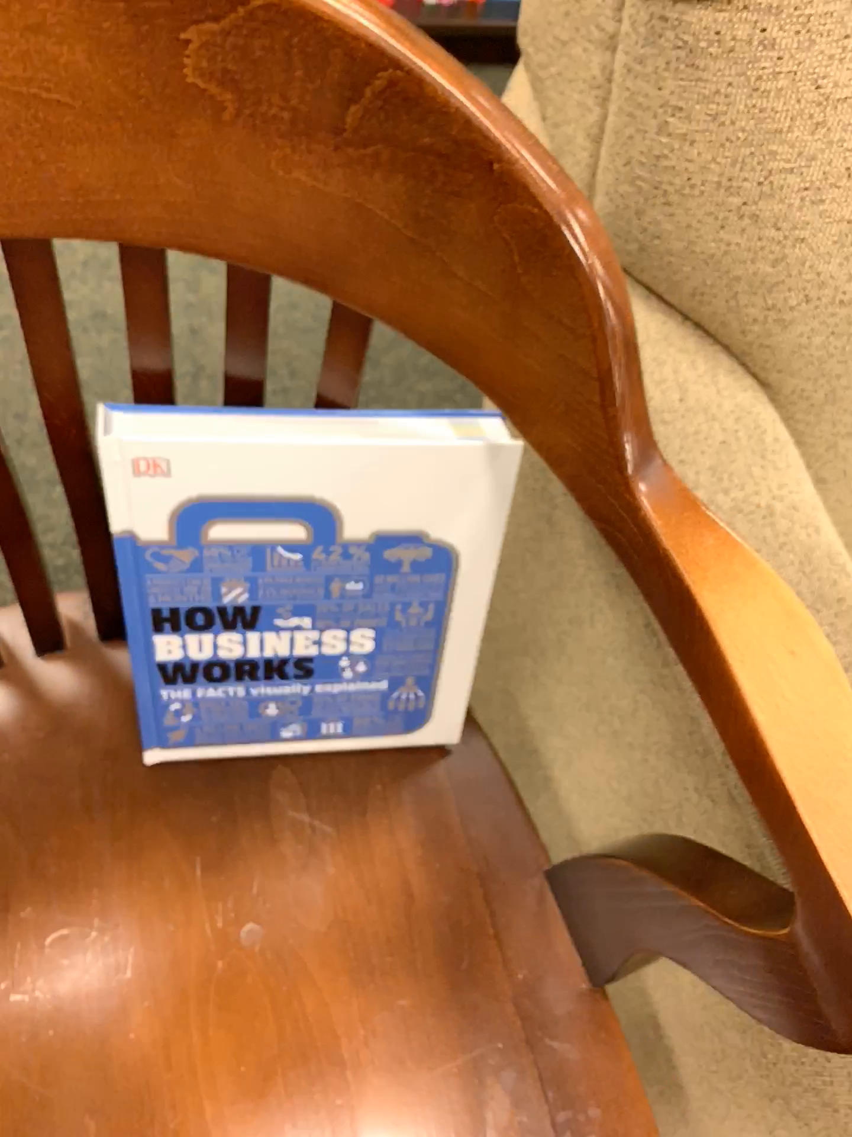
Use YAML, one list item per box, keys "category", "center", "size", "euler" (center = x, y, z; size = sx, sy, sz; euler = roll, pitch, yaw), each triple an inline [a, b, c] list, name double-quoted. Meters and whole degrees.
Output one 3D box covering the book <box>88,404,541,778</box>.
- category: "book"
  center: [-0.066, 0.025, 0.510]
  size: [0.211, 0.246, 0.039]
  euler: [-1, 42, -13]
